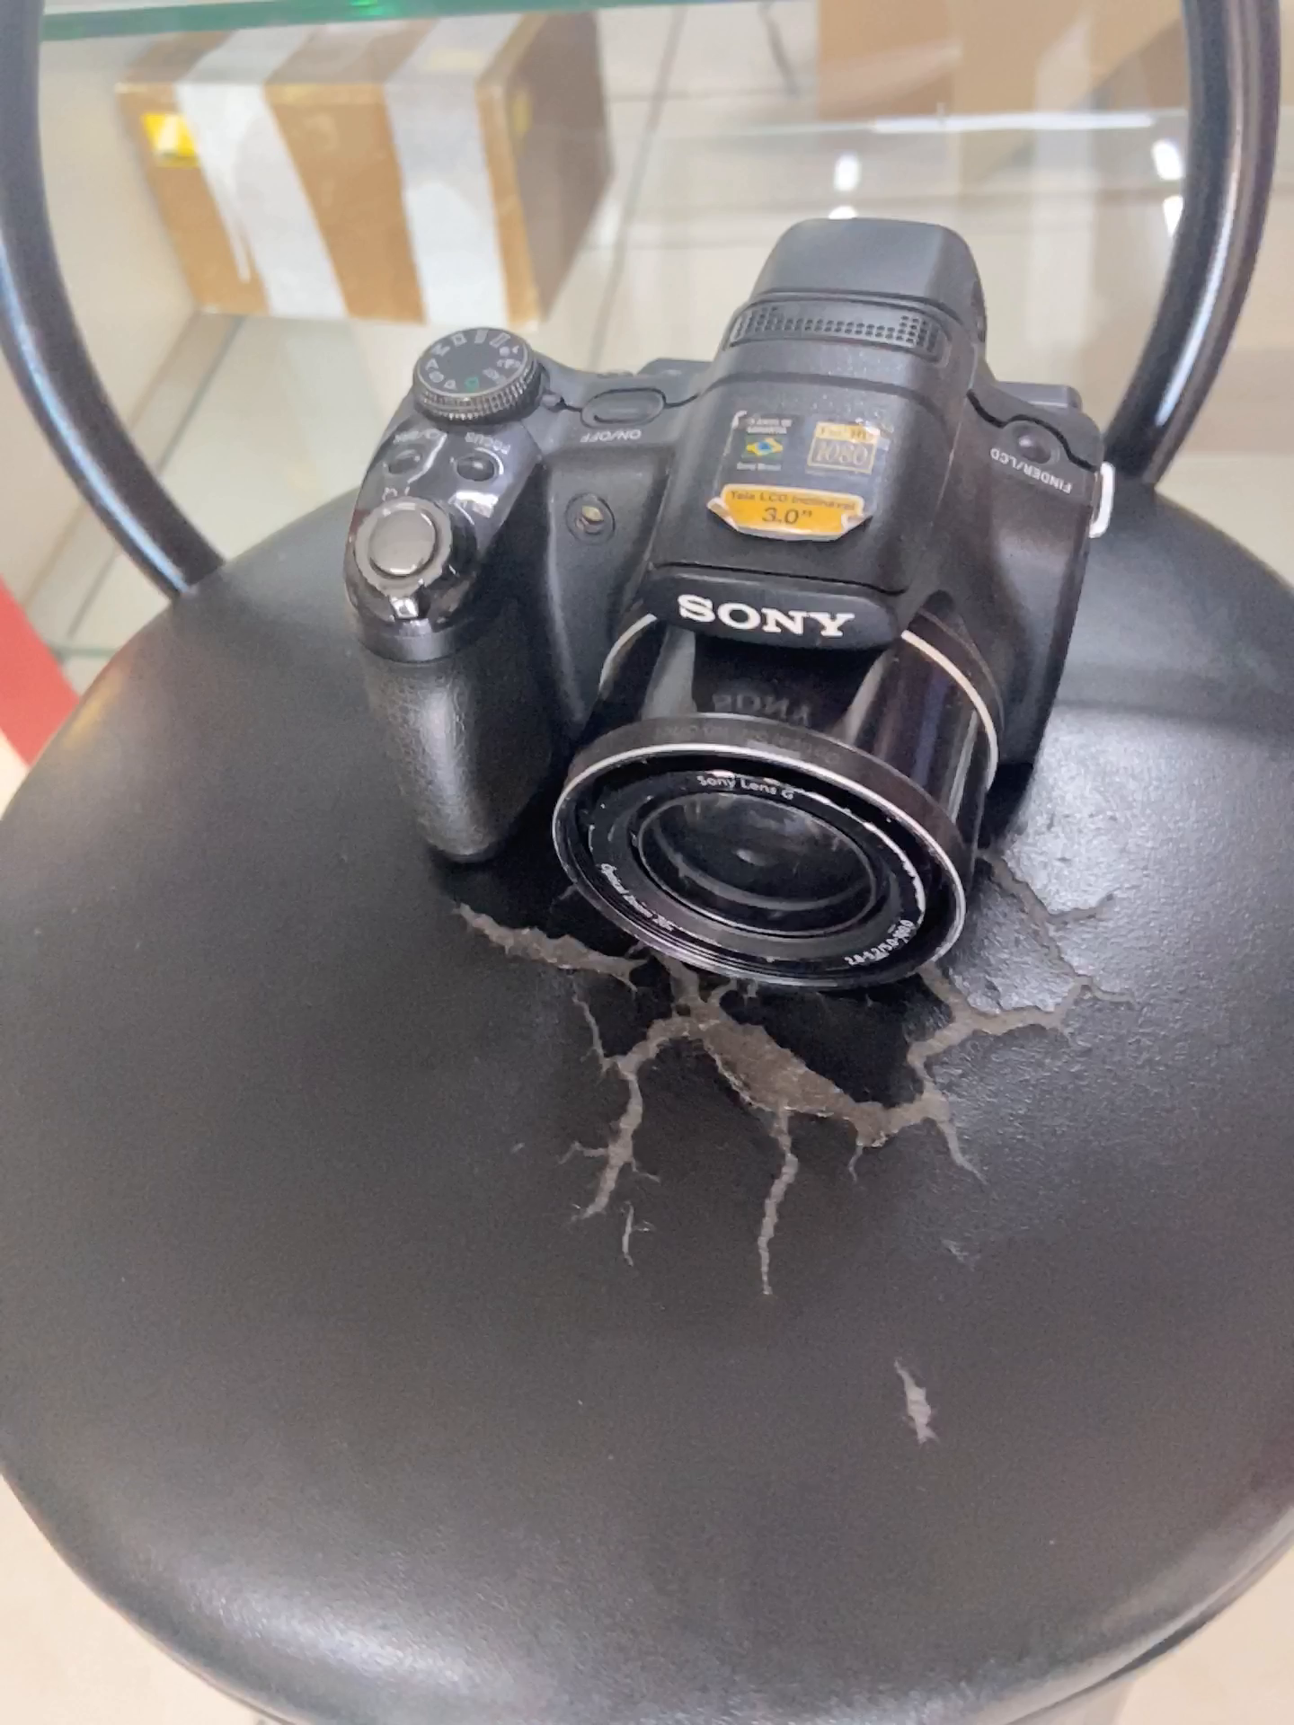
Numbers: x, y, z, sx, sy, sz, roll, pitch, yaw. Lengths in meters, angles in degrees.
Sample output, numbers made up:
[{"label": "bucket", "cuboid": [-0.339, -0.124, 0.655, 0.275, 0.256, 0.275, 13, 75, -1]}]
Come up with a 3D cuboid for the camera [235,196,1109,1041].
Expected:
[{"label": "camera", "cuboid": [0.013, -0.043, 0.221, 0.100, 0.080, 0.100, 9, 54, 15]}]
